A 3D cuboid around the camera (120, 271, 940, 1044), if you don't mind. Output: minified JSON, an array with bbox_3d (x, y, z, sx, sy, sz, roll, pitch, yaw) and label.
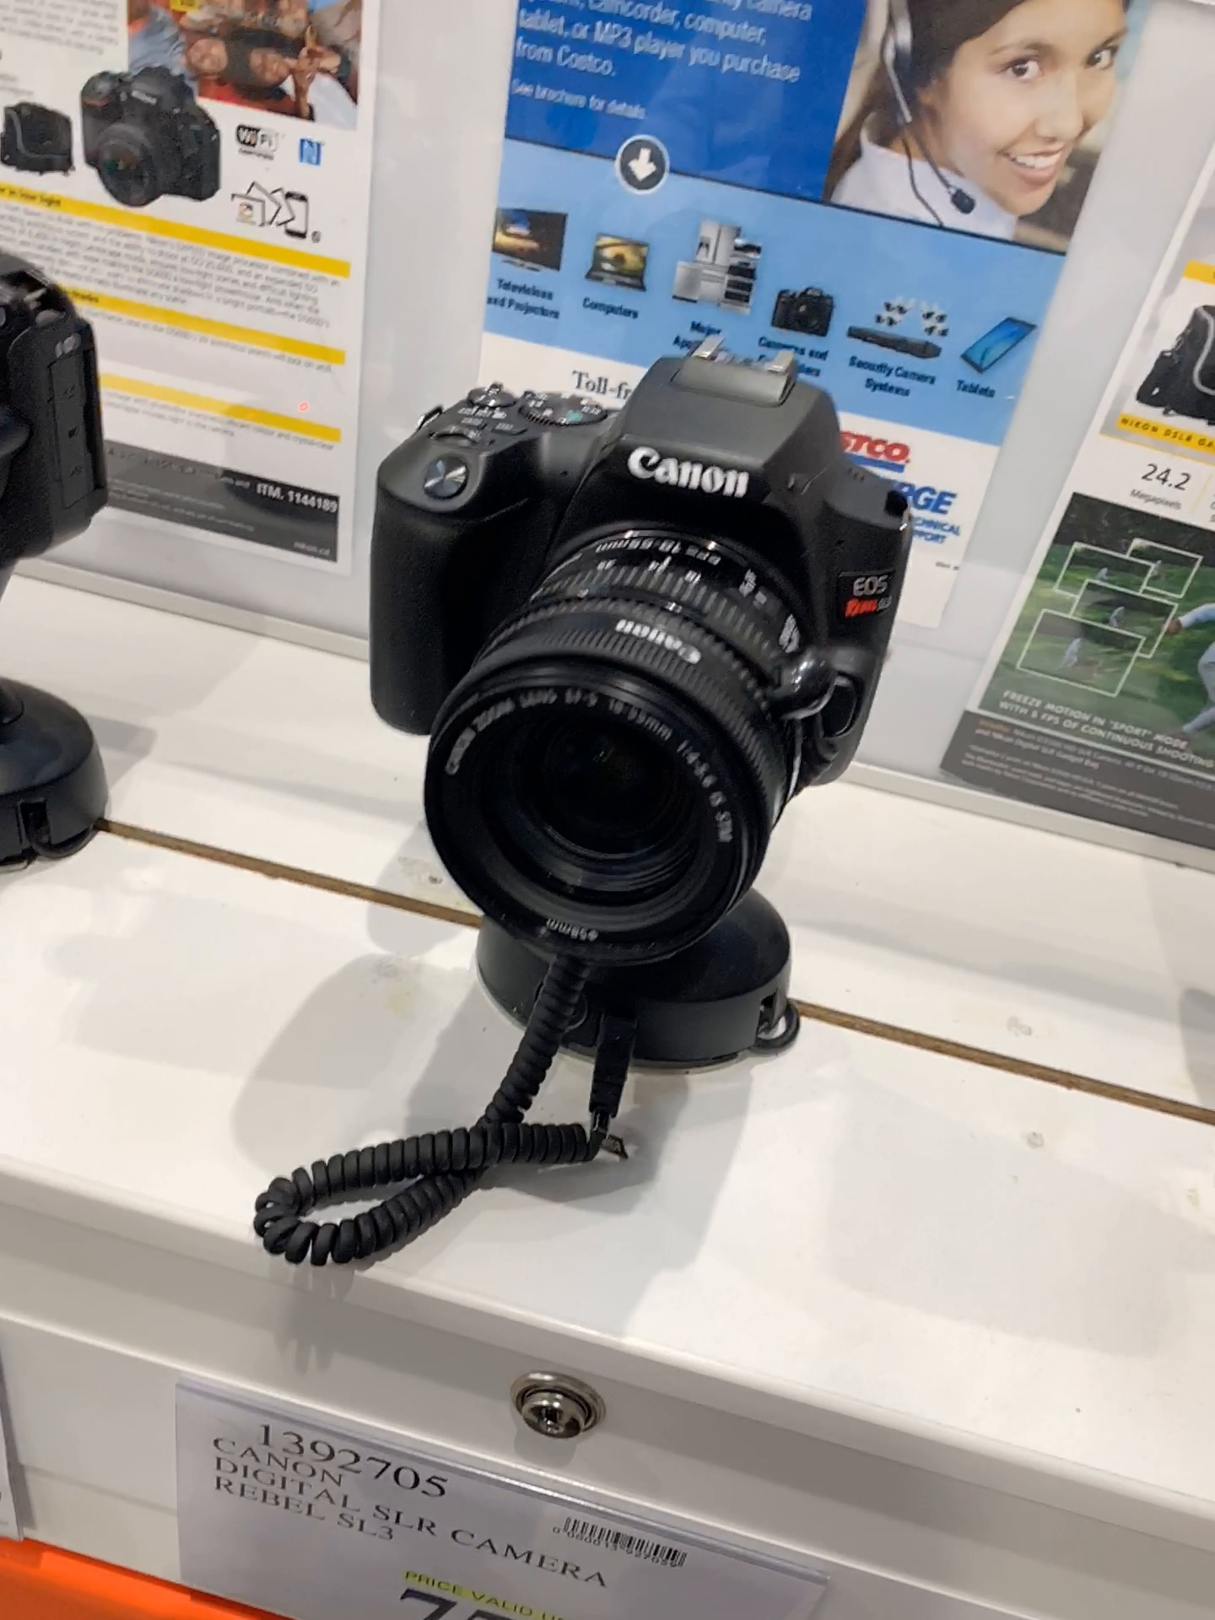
[{"bbox_3d":[-0.006,-0.039,0.248,0.120,0.089,0.111,13,35,7],"label":"camera"}]
